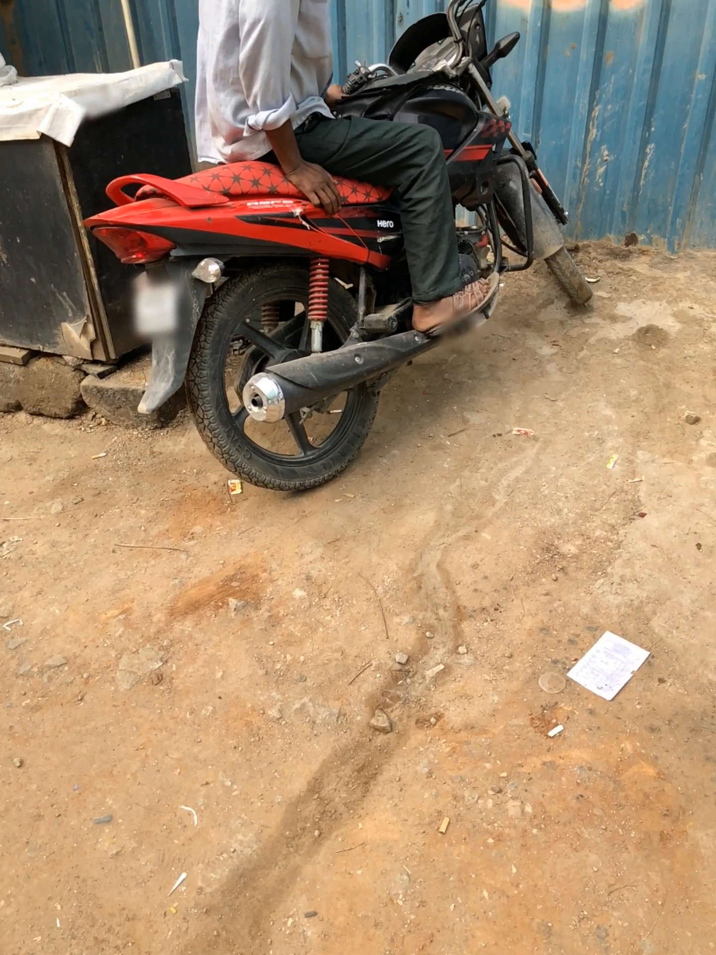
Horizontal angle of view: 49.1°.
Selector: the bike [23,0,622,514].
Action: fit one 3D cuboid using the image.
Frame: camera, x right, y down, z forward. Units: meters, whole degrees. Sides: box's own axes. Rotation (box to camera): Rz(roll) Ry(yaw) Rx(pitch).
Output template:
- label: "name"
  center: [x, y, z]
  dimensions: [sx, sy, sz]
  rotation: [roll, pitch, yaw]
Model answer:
- label: "bike"
  center: [0.019, -0.985, 2.330]
  dimensions: [0.735, 1.129, 1.639]
  rotation: [22, 46, 32]
